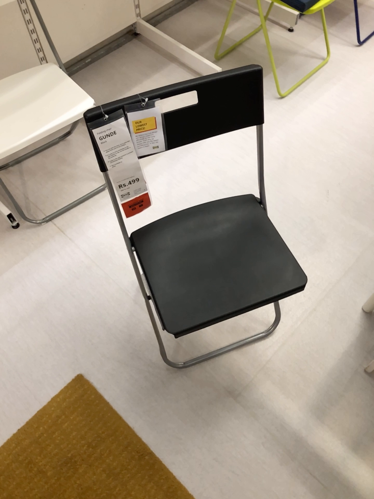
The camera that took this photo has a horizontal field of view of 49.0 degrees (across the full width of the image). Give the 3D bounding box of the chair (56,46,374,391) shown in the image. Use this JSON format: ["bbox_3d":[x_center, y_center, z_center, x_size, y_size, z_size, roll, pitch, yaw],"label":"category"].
[{"bbox_3d":[0.048,-0.009,1.142,0.500,0.786,0.462,-19,61,-10],"label":"chair"}]
